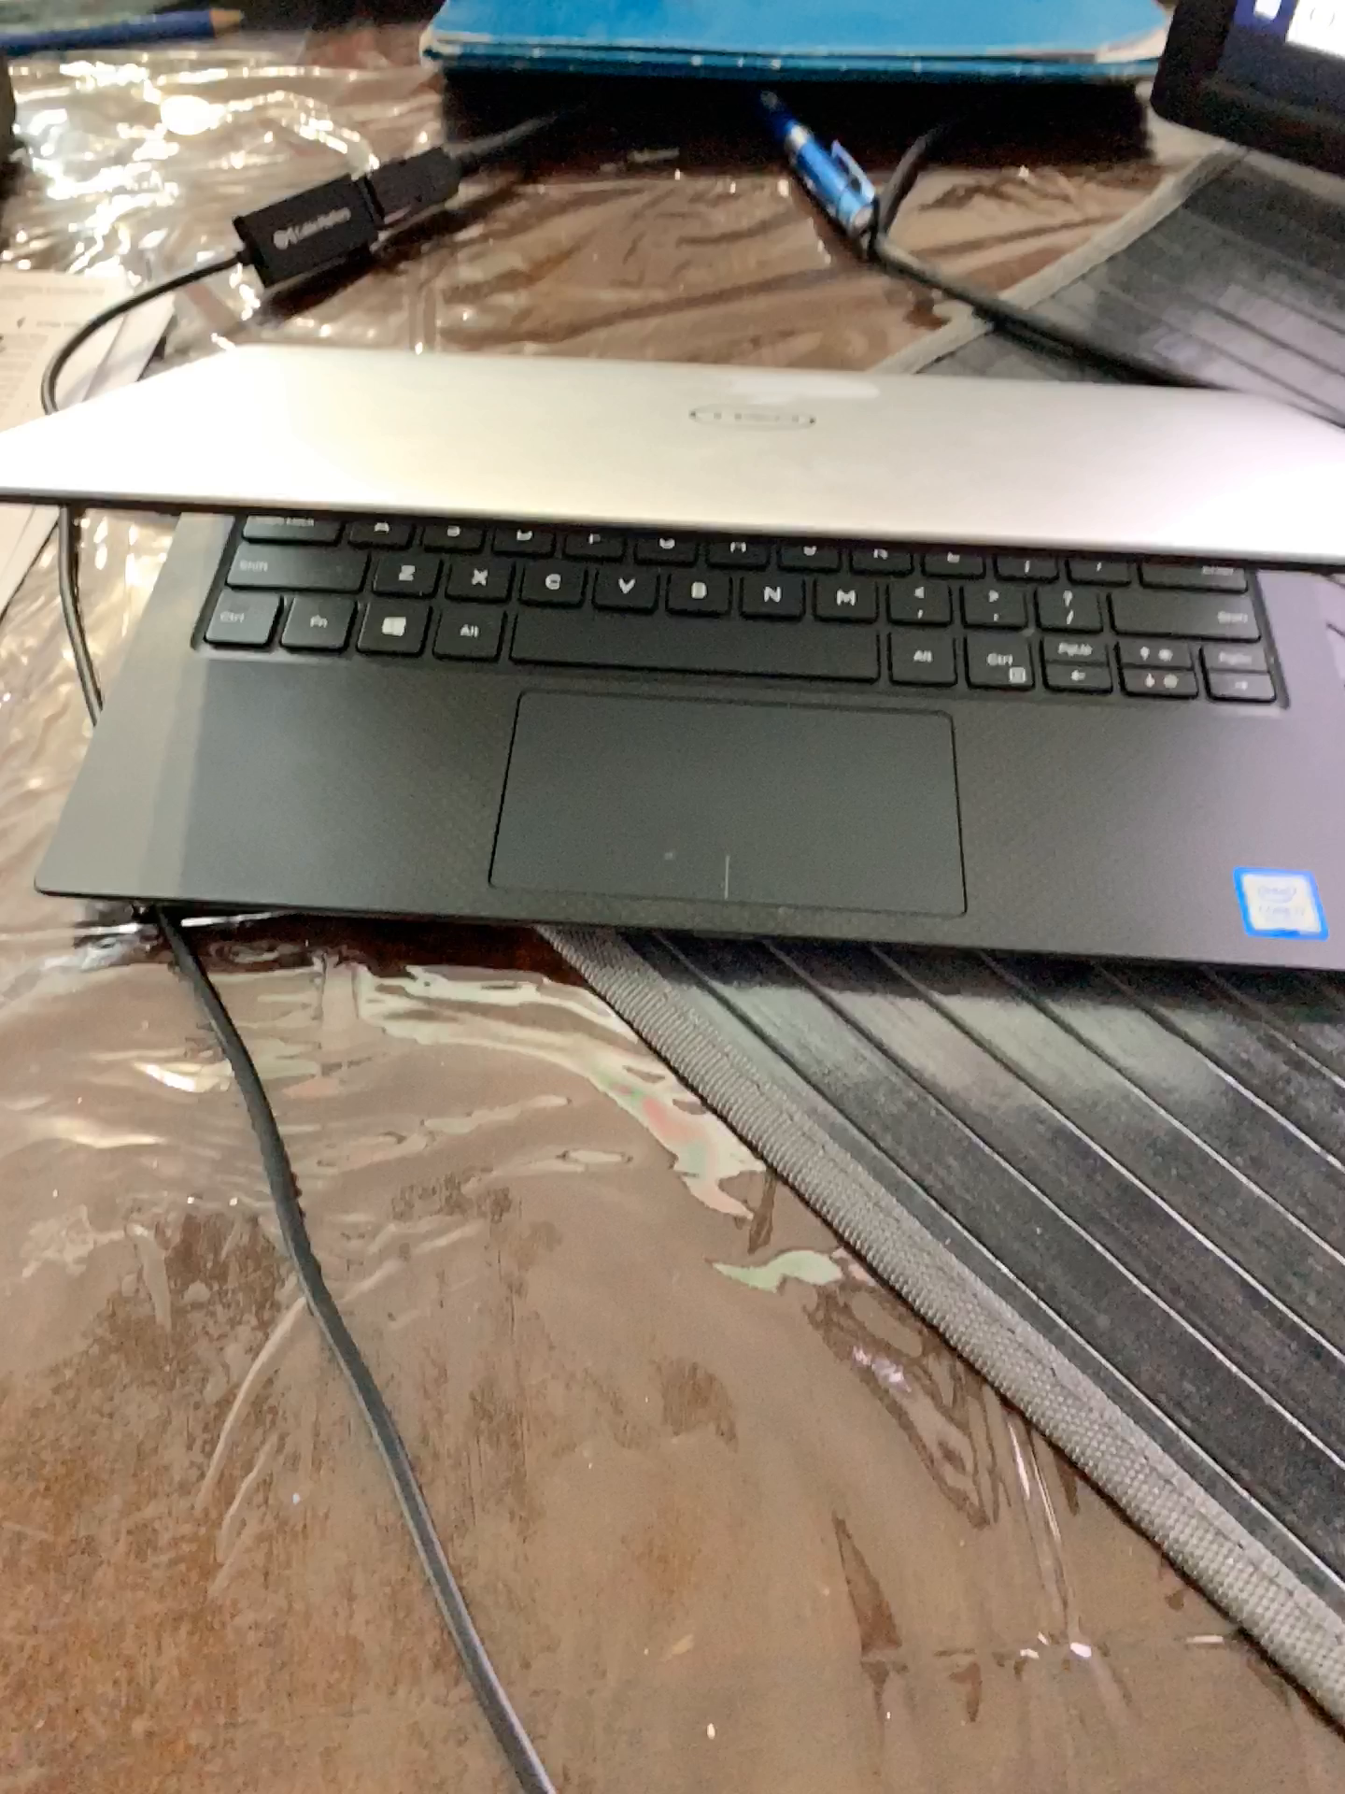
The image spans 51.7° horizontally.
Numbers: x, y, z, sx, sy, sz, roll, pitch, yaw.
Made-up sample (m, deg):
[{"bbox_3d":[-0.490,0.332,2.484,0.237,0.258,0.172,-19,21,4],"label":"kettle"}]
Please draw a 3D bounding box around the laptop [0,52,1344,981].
[{"bbox_3d":[0.018,-0.093,0.307,0.290,0.085,0.185,4,54,2],"label":"laptop"}]
